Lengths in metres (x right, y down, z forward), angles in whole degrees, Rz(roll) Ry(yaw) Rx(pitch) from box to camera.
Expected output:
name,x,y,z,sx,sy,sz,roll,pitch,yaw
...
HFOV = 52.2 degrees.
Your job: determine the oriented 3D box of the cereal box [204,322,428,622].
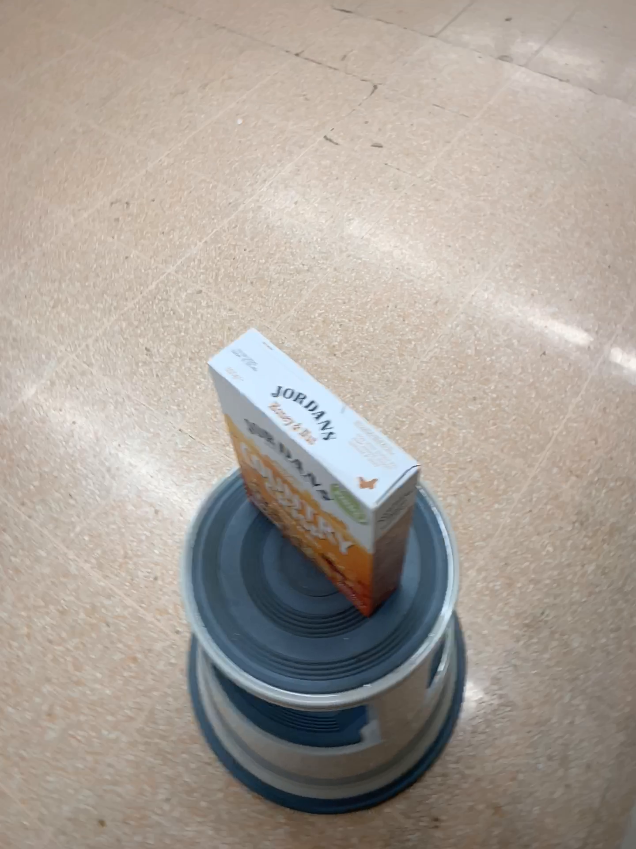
name,x,y,z,sx,sy,sz,roll,pitch,yaw
cereal box,-0.003,0.057,0.577,0.050,0.258,0.181,-40,65,-21
